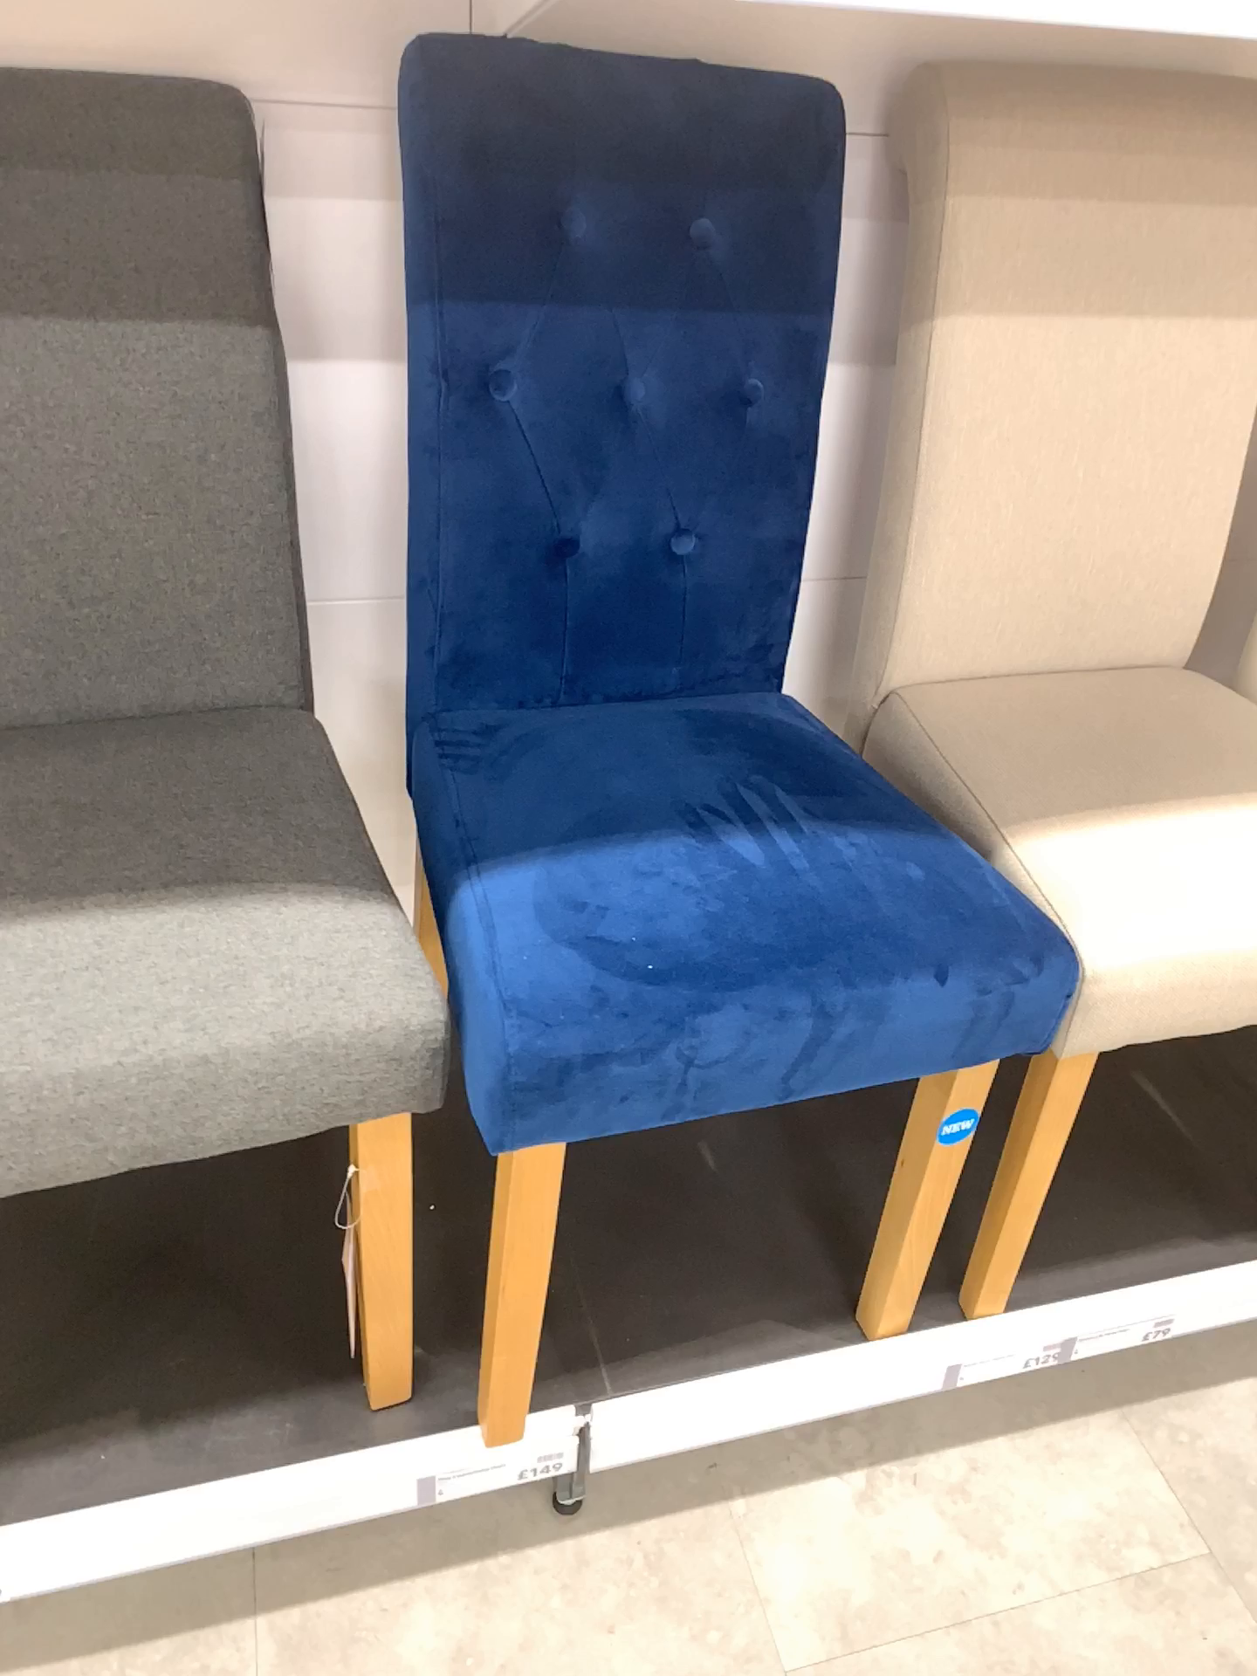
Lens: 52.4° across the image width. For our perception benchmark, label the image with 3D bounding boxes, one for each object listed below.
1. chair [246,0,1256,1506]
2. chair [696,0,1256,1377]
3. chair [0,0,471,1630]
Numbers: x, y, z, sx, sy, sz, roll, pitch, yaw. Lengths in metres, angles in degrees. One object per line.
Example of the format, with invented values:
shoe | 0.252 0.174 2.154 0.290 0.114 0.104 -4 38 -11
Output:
chair | -0.022 -0.110 1.118 0.489 1.035 0.673 -6 29 -15
chair | 0.440 -0.161 1.239 0.489 1.035 0.673 -6 29 -15
chair | -0.434 -0.068 1.024 0.489 1.025 0.673 -6 29 -15
